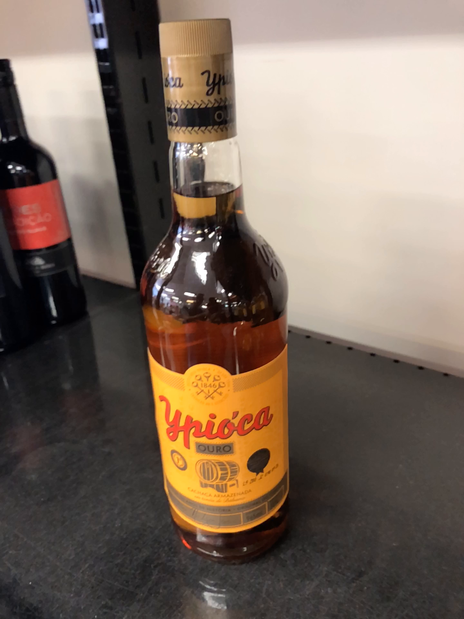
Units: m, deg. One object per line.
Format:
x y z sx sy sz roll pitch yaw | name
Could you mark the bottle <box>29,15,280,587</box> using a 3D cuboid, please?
-0.018 0.019 0.282 0.080 0.308 0.071 0 29 8 | bottle
